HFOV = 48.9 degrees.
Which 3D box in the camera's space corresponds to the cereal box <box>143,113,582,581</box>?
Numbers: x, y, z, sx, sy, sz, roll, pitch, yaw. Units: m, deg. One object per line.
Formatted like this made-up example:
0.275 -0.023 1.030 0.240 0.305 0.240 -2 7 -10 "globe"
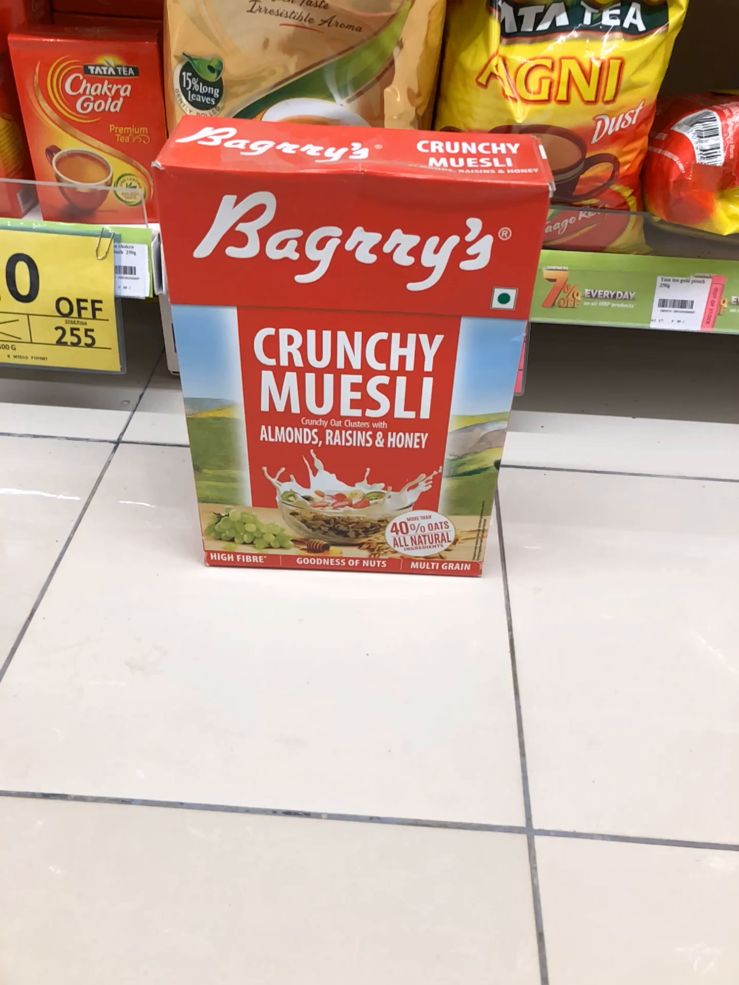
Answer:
-0.007 -0.069 0.484 0.200 0.268 0.070 2 41 0 "cereal box"
